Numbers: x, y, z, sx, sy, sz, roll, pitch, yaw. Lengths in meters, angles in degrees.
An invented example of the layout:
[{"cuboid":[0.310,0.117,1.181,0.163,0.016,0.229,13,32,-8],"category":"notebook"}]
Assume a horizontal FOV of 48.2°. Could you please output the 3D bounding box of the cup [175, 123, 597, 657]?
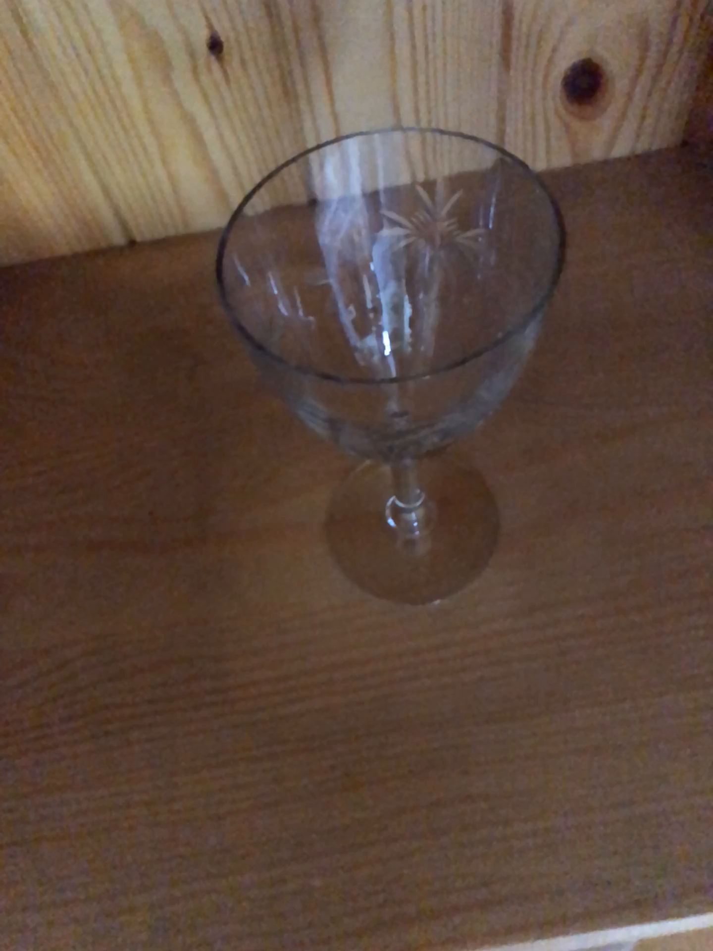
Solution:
[{"cuboid":[0.014,-0.008,0.209,0.070,0.140,0.070,-3,62,5],"category":"cup"}]
